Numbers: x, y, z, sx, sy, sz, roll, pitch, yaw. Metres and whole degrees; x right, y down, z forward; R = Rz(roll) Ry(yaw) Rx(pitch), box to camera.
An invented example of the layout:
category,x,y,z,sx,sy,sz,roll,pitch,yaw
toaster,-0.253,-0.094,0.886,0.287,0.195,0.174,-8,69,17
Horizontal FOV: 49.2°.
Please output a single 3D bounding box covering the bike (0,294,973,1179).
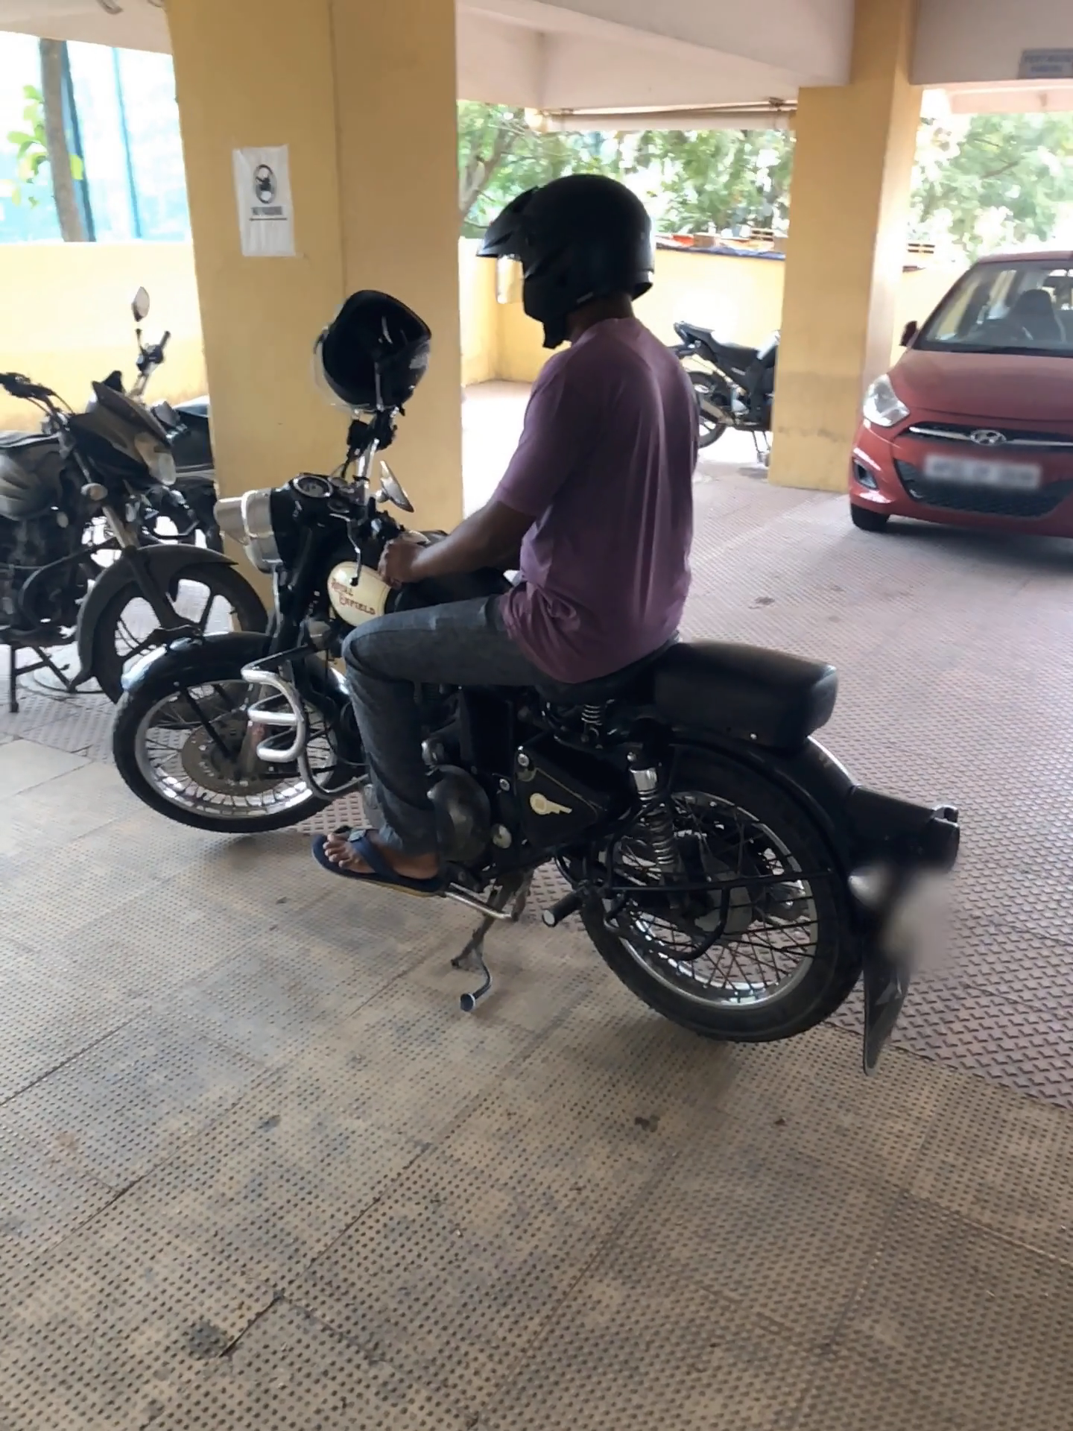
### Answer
category,x,y,z,sx,sy,sz,roll,pitch,yaw
bike,-0.195,-0.106,2.362,1.762,1.097,0.729,17,27,23
